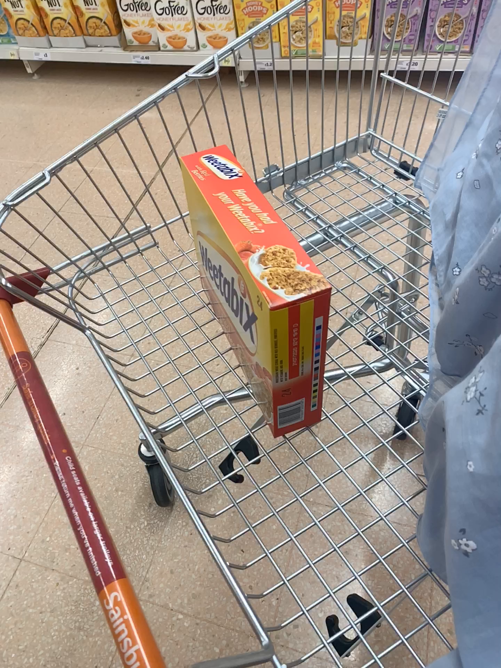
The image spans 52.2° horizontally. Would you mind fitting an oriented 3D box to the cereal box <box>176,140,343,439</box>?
[{"bbox_3d":[0.001,-0.052,0.544,0.060,0.188,0.262,-19,50,-12],"label":"cereal box"}]
